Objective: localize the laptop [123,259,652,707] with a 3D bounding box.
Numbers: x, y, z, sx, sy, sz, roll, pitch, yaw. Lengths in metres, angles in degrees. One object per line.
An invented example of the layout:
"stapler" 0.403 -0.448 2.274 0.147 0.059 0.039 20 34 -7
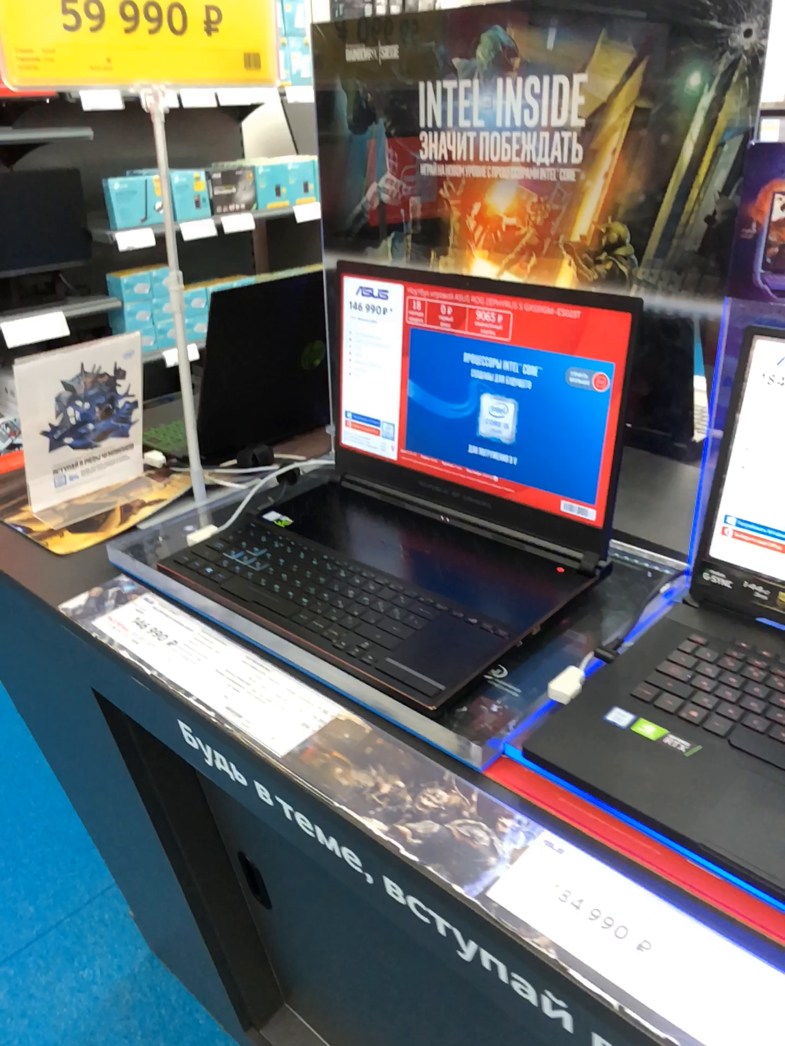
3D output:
"laptop" -0.008 -0.074 0.776 0.350 0.241 0.279 21 35 38

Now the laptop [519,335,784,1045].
"laptop" 0.319 0.049 0.530 0.302 0.219 0.342 -26 34 -37
